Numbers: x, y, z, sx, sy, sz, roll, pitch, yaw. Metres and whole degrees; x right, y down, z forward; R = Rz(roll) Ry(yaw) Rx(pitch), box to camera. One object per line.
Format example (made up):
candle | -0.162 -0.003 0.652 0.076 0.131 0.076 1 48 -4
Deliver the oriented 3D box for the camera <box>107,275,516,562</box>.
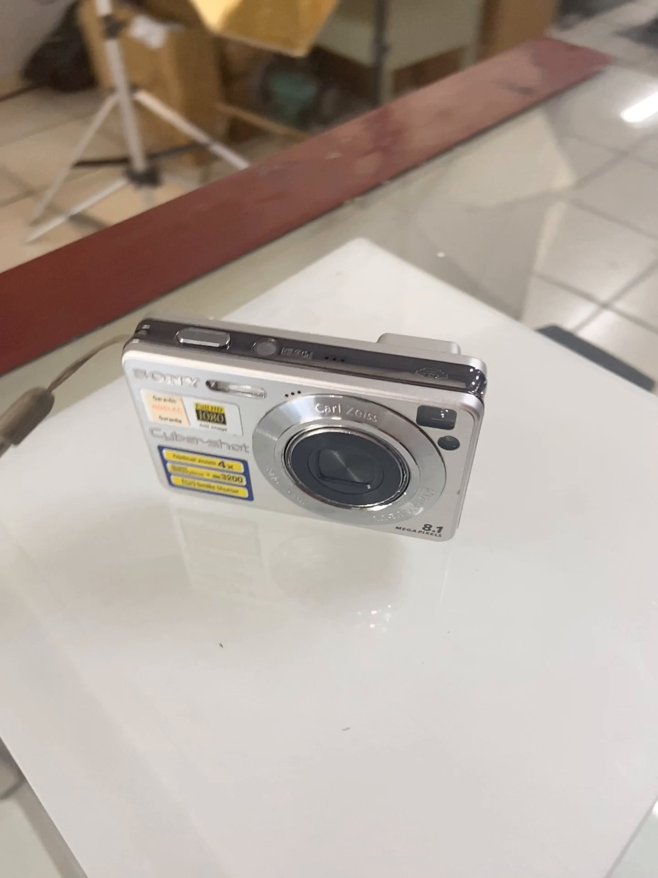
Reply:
camera | -0.003 -0.004 0.181 0.090 0.060 0.030 8 48 8
